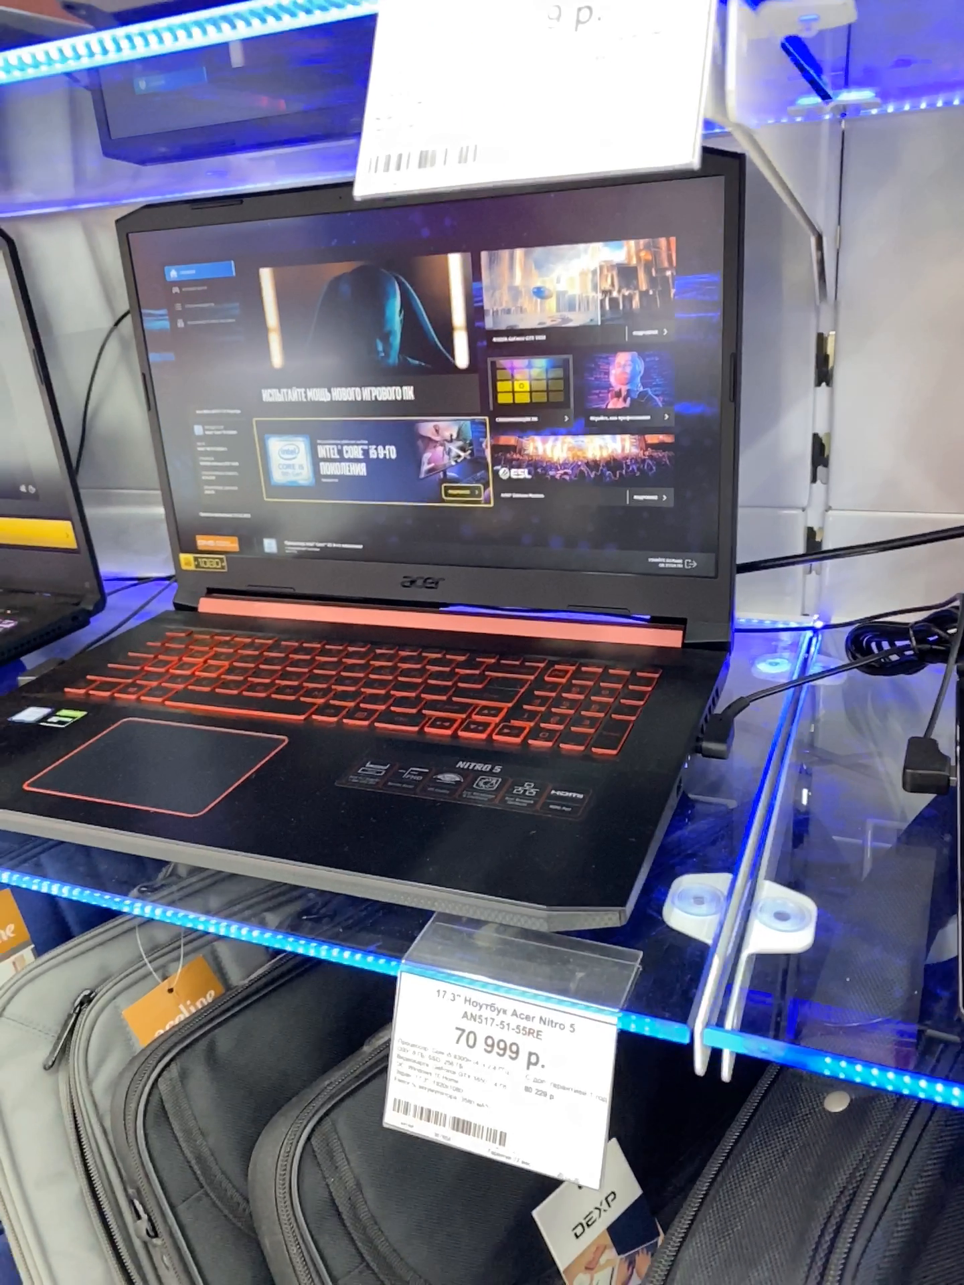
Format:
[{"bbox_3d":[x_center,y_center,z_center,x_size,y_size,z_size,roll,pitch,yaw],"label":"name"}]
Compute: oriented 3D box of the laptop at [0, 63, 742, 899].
[{"bbox_3d":[-0.098,-0.092,0.508,0.406,0.267,0.285,4,22,21],"label":"laptop"}]
